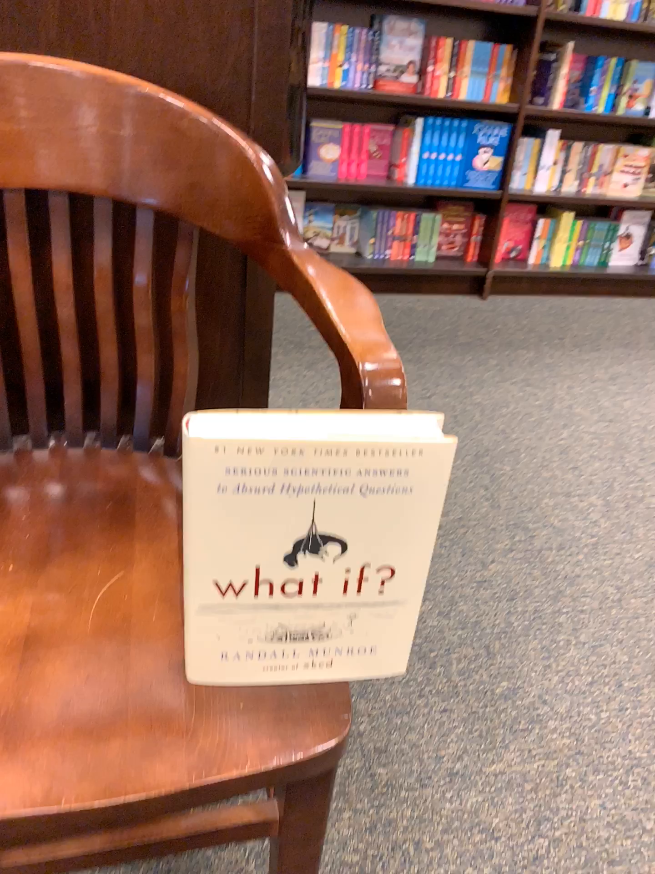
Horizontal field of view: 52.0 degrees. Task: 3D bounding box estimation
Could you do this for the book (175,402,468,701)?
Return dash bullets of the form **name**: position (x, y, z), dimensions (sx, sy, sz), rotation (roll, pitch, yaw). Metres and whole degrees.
- **book**: position (-0.015, 0.092, 0.505), dimensions (0.188, 0.239, 0.050), rotation (0, 31, -10)
